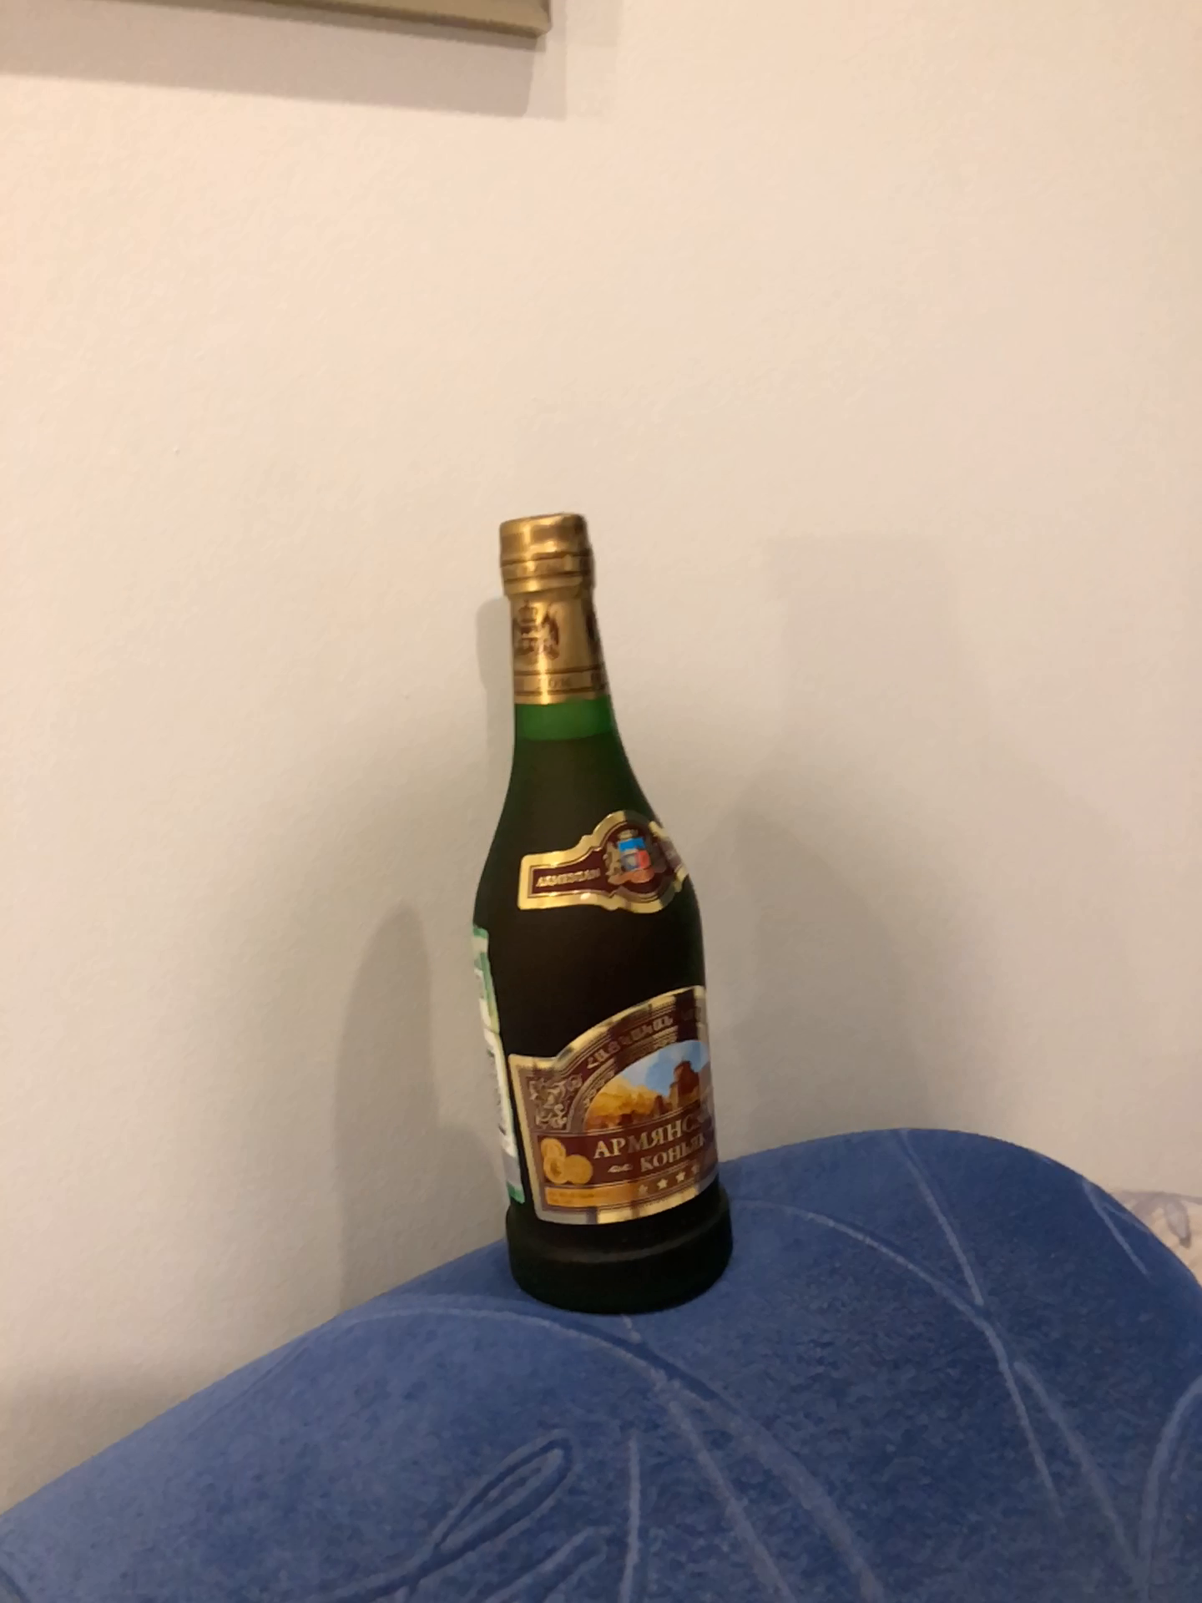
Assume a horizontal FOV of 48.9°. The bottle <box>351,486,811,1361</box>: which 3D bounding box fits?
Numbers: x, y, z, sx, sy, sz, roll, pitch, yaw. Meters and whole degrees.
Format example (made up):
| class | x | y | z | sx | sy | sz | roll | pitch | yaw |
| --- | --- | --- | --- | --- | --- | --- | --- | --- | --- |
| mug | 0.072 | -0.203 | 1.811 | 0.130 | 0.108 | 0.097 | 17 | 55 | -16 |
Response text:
| class | x | y | z | sx | sy | sz | roll | pitch | yaw |
| --- | --- | --- | --- | --- | --- | --- | --- | --- | --- |
| bottle | -0.004 | 0.031 | 0.421 | 0.090 | 0.243 | 0.080 | -14 | 12 | -36 |
